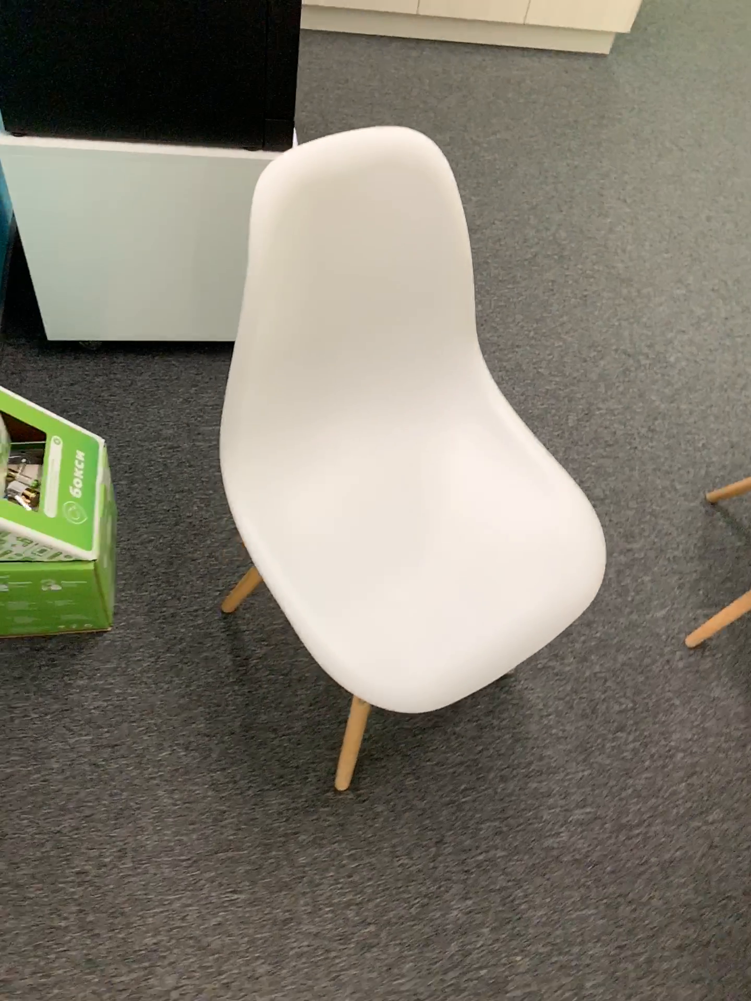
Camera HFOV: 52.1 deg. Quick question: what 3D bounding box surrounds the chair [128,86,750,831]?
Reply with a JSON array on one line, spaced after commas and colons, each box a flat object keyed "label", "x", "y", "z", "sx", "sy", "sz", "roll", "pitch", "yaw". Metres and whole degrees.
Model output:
[{"label": "chair", "x": 0.034, "y": 0.004, "z": 1.058, "sx": 0.461, "sy": 0.817, "sz": 0.501, "roll": -26, "pitch": 63, "yaw": -26}]
